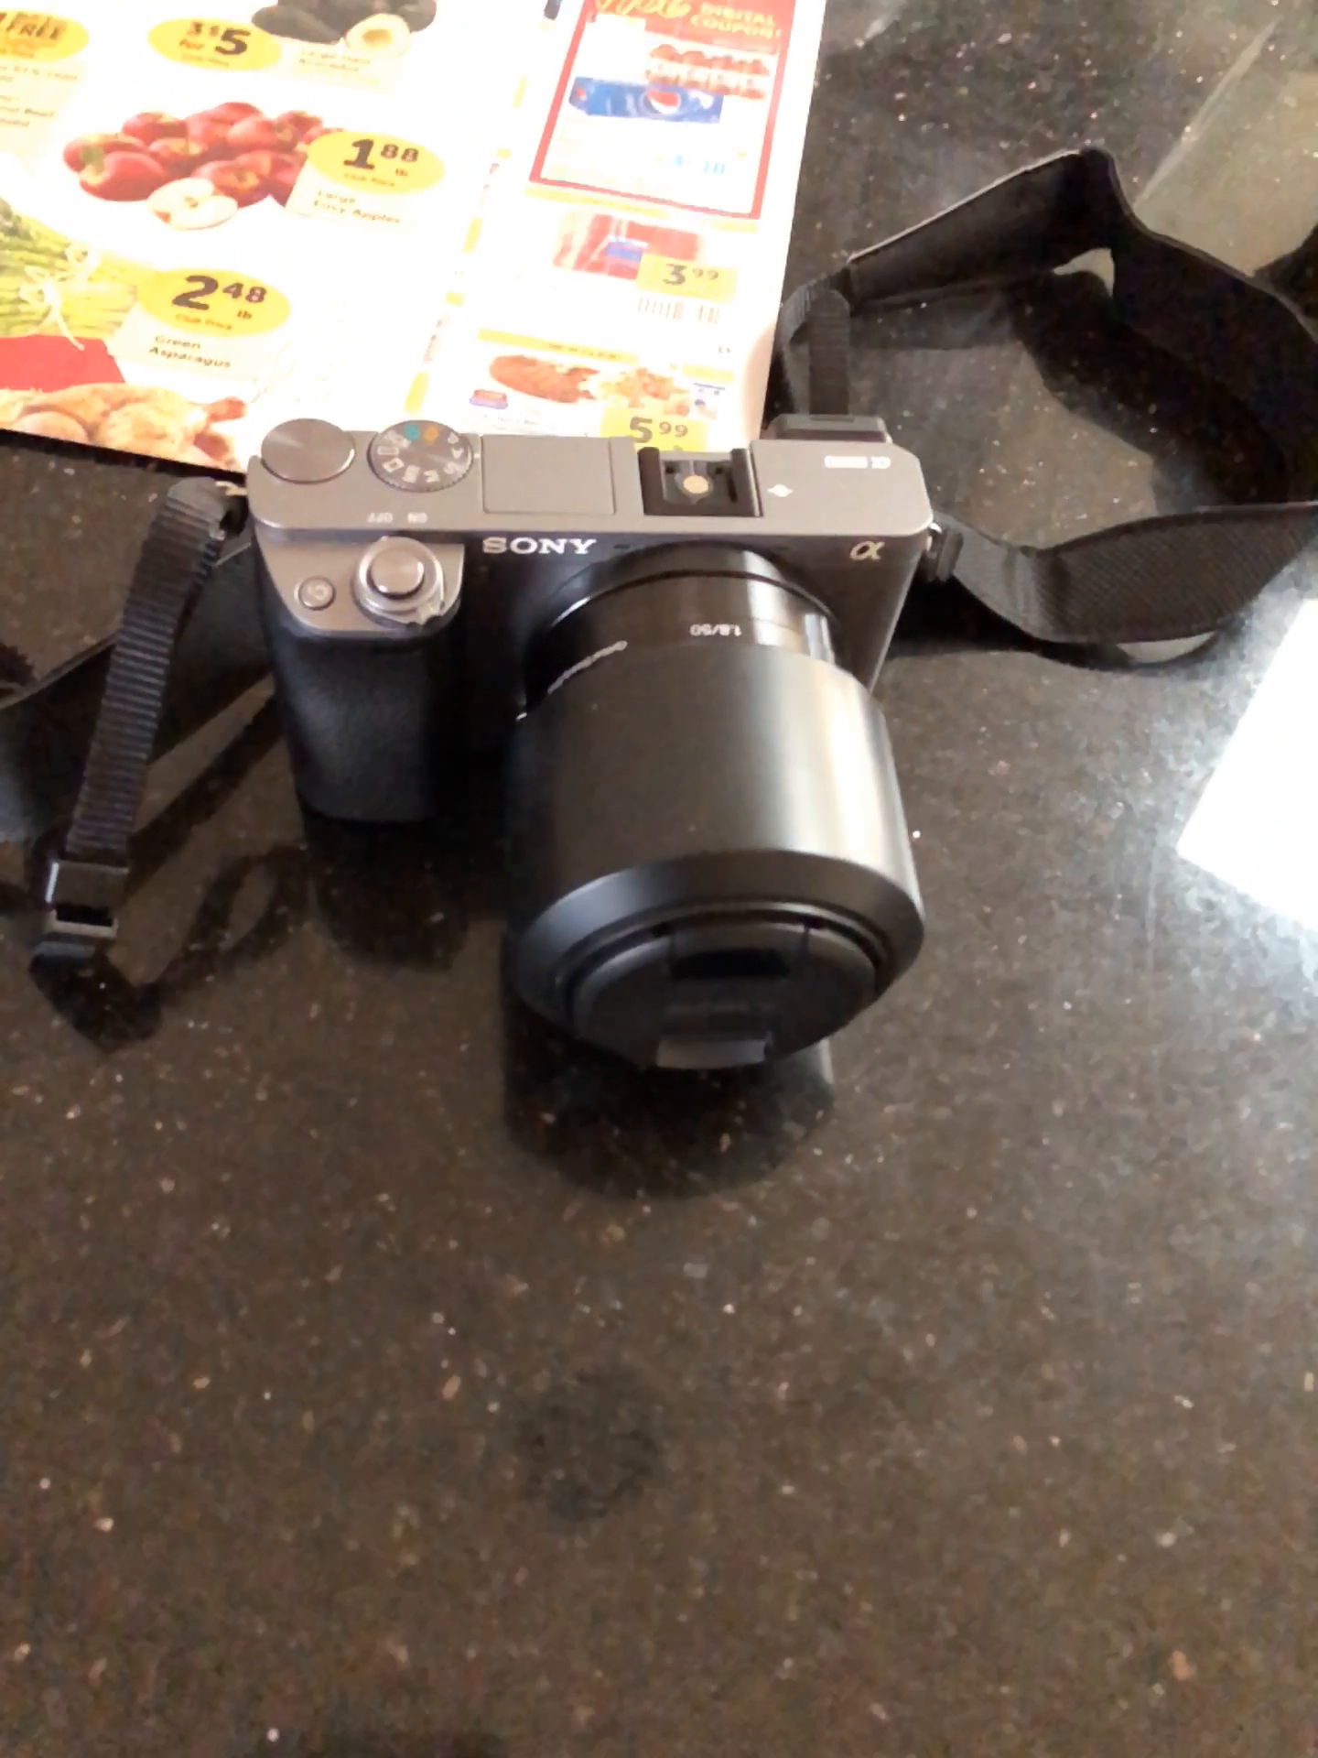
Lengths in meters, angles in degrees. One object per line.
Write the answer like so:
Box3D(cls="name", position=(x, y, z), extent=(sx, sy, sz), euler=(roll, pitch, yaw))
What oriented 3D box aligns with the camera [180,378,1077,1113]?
Box3D(cls="camera", position=(-0.010, -0.025, 0.267), extent=(0.130, 0.070, 0.110), euler=(-1, 59, -8))
